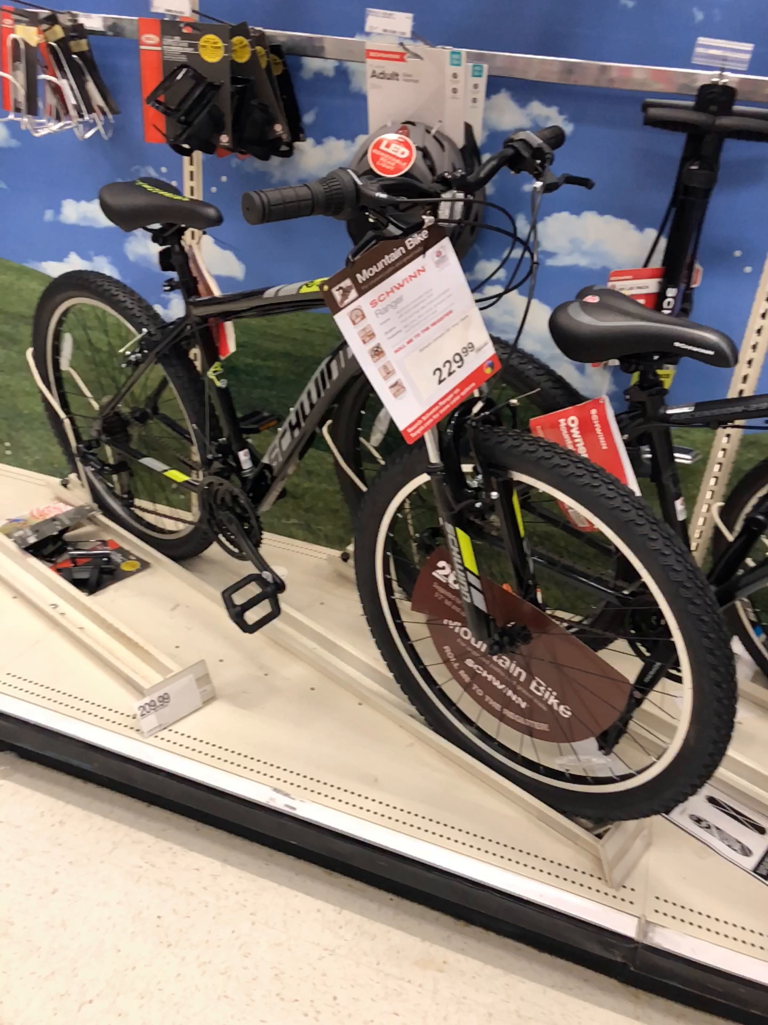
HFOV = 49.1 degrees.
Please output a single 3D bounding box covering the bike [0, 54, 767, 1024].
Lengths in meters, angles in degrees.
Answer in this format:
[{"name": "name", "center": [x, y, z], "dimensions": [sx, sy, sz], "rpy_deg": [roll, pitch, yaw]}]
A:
[{"name": "bike", "center": [-0.234, -0.078, 1.401], "dimensions": [1.655, 1.002, 0.600], "rpy_deg": [29, 35, 34]}]
